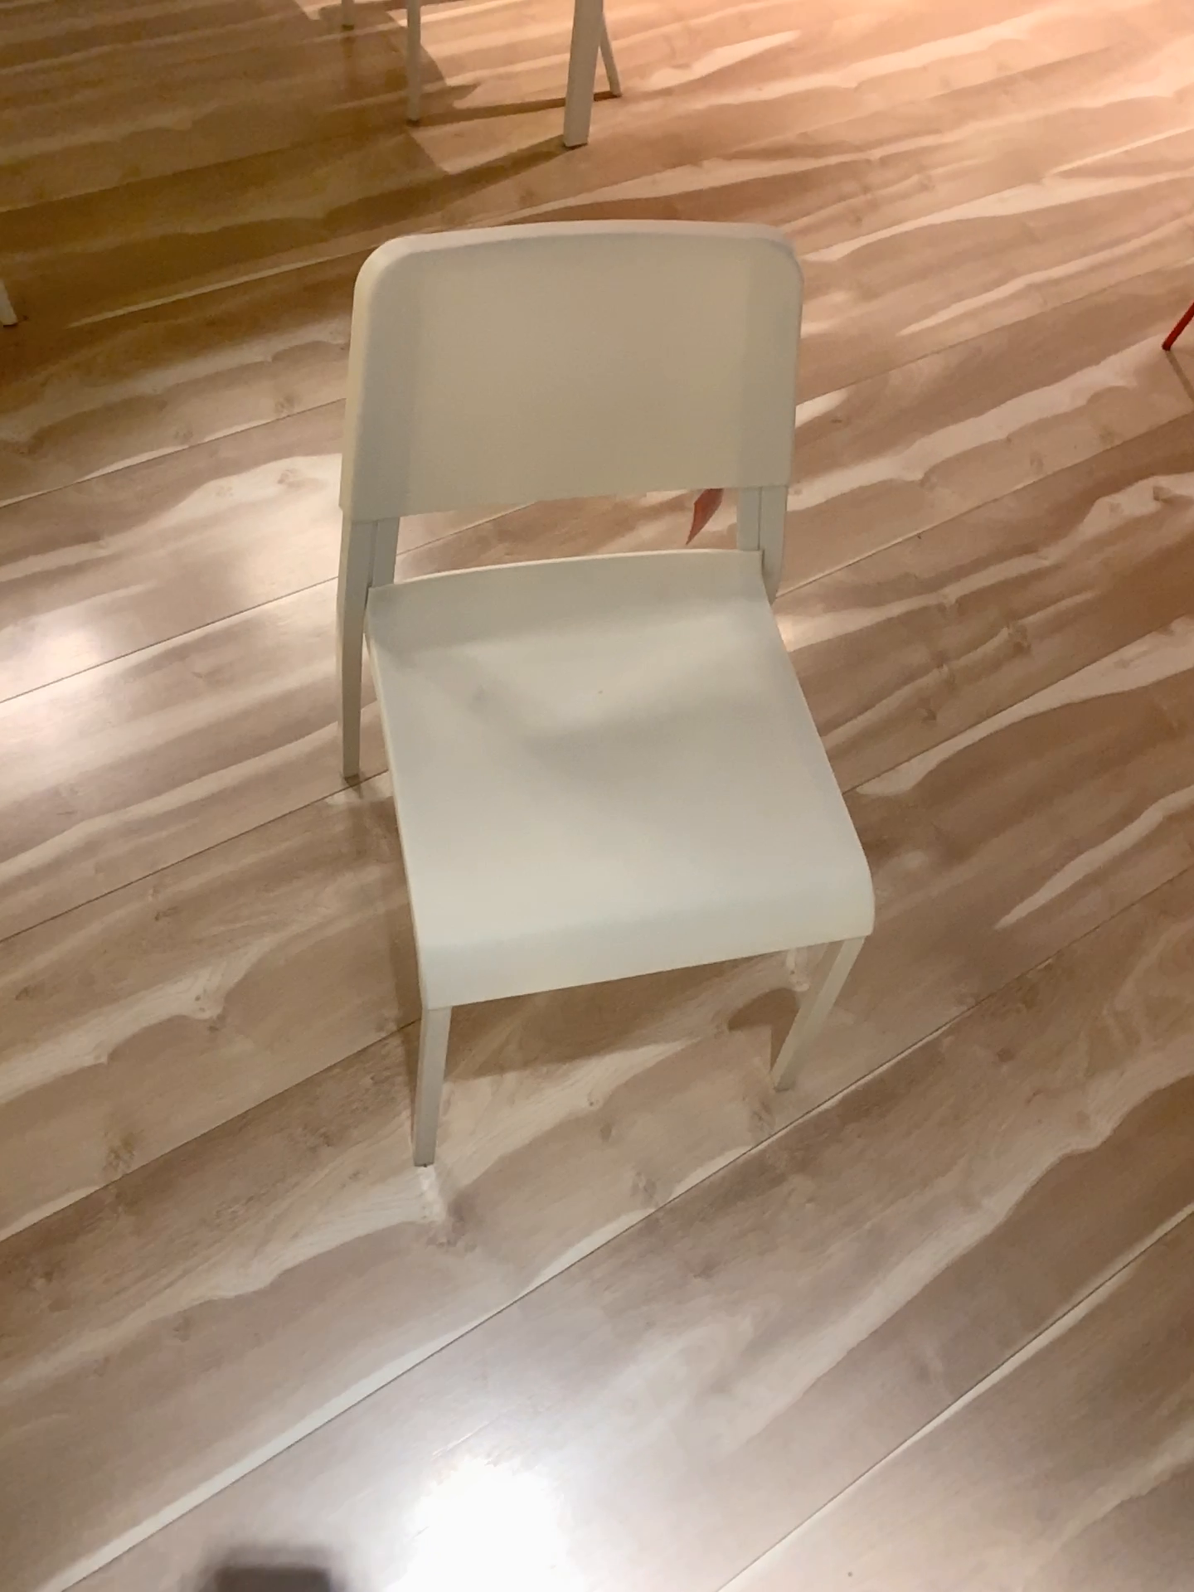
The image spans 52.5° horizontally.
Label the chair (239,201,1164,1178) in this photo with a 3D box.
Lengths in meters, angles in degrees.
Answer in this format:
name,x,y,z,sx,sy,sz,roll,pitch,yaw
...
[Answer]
name,x,y,z,sx,sy,sz,roll,pitch,yaw
chair,0.004,-0.055,1.147,0.520,0.709,0.551,-9,61,-13
